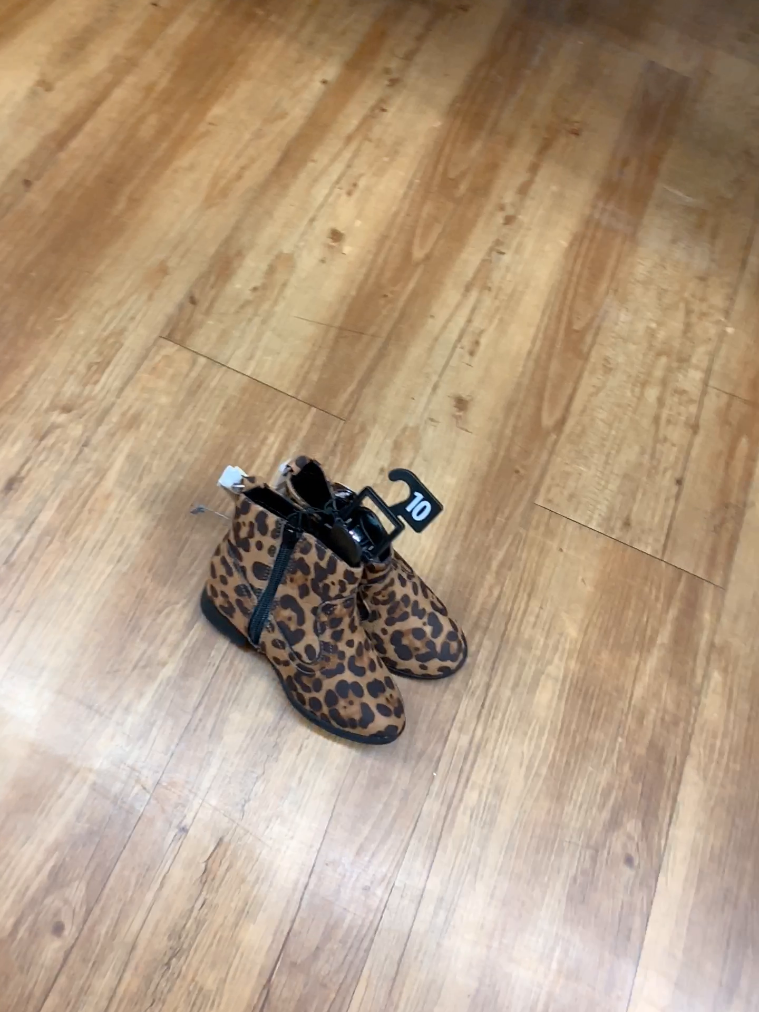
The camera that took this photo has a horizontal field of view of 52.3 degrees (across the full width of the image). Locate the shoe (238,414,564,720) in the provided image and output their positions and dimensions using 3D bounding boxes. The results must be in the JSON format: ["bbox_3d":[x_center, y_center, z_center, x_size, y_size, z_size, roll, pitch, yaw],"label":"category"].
[{"bbox_3d":[0.004,0.046,0.511,0.190,0.120,0.070,36,67,6],"label":"shoe"}]

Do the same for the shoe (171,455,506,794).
[{"bbox_3d":[-0.032,0.077,0.509,0.180,0.120,0.070,40,38,8],"label":"shoe"}]
